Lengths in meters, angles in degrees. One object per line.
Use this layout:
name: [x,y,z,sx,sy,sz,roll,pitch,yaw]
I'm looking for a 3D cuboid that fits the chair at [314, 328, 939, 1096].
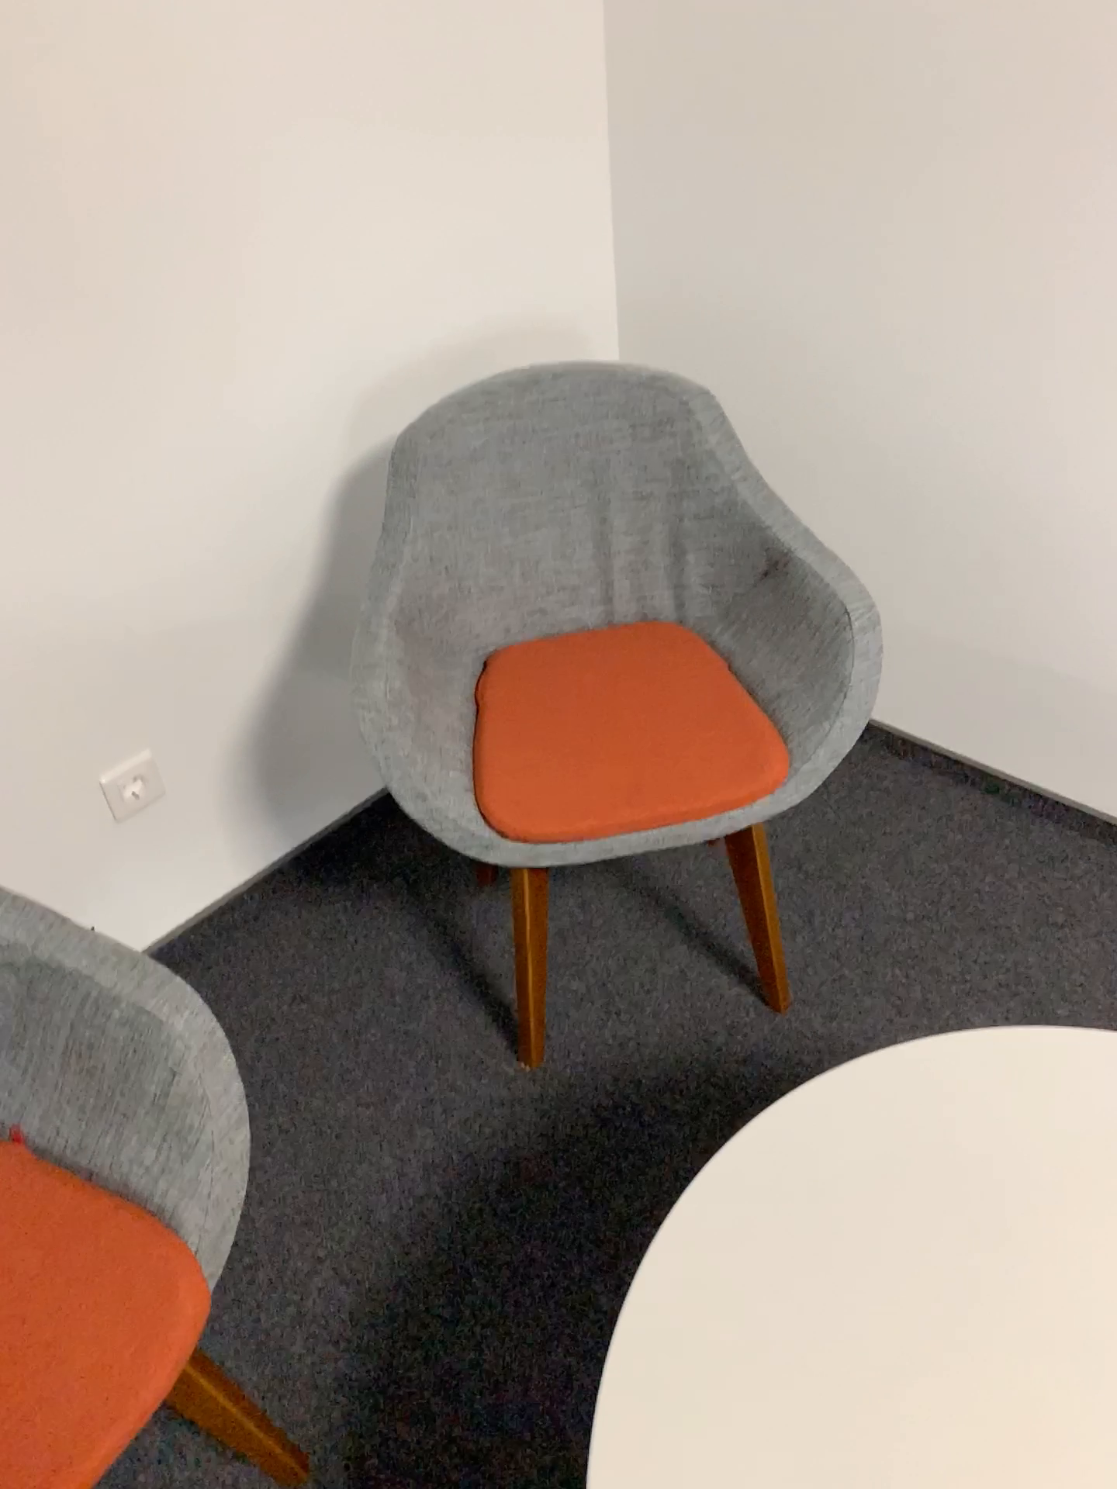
chair: [0.065,-0.036,1.582,0.630,0.835,0.503,-10,38,-6]
